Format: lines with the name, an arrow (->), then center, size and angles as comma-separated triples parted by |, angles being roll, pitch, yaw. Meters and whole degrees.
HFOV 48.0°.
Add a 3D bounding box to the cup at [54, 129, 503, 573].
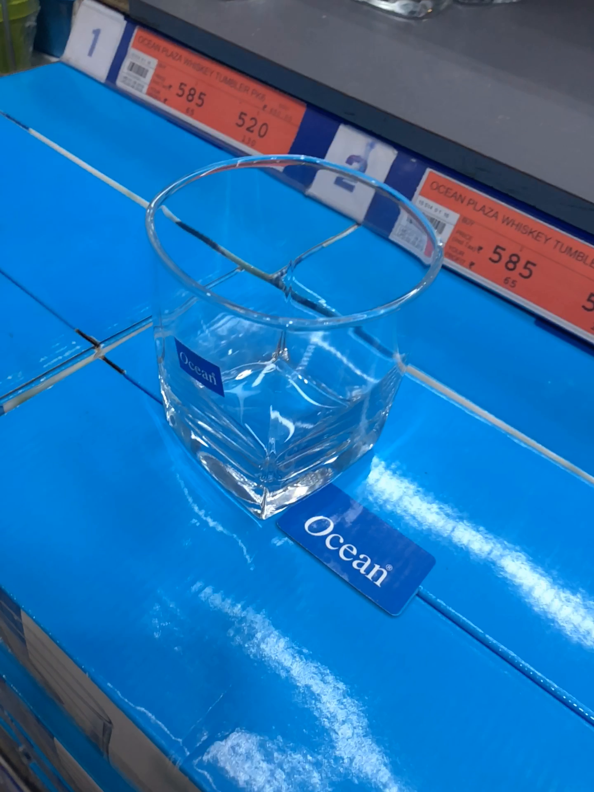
cup -> -0.008, -0.020, 0.217 | 0.090, 0.080, 0.090 | 4, 45, -5
